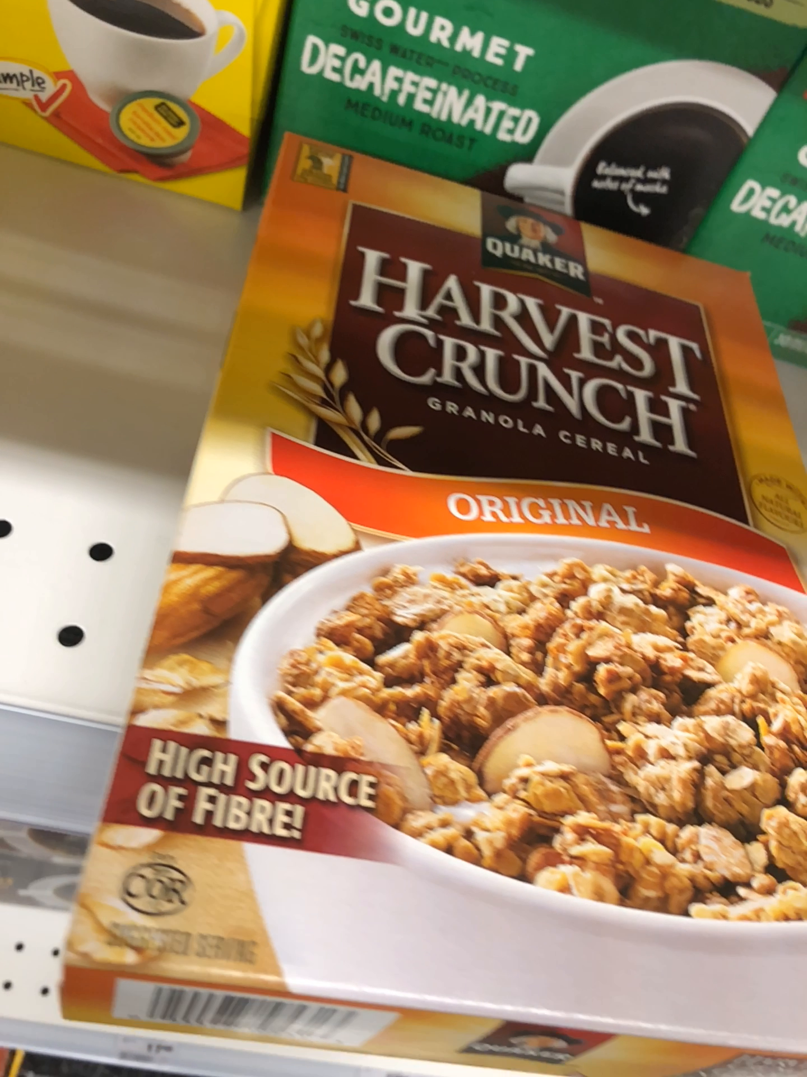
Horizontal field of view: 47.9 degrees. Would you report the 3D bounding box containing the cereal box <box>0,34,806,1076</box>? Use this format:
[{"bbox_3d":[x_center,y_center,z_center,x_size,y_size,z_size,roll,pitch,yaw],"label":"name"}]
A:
[{"bbox_3d":[0.029,-0.019,0.238,0.170,0.050,0.281,12,51,-11],"label":"cereal box"}]
